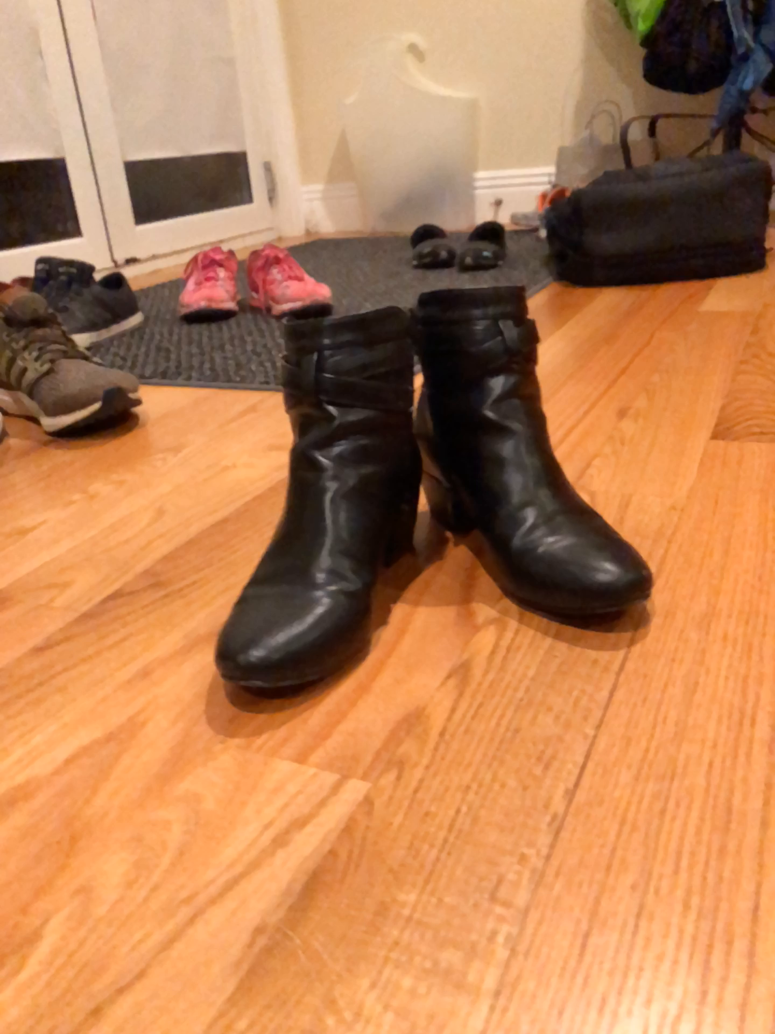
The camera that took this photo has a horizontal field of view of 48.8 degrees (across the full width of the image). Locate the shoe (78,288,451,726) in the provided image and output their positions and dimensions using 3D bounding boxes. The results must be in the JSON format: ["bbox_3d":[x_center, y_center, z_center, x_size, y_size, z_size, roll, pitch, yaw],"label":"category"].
[{"bbox_3d":[-0.048,-0.025,0.498,0.090,0.172,0.227,4,24,23],"label":"shoe"}]

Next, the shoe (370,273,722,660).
[{"bbox_3d":[0.085,-0.050,0.535,0.090,0.172,0.227,-15,24,-21],"label":"shoe"}]
